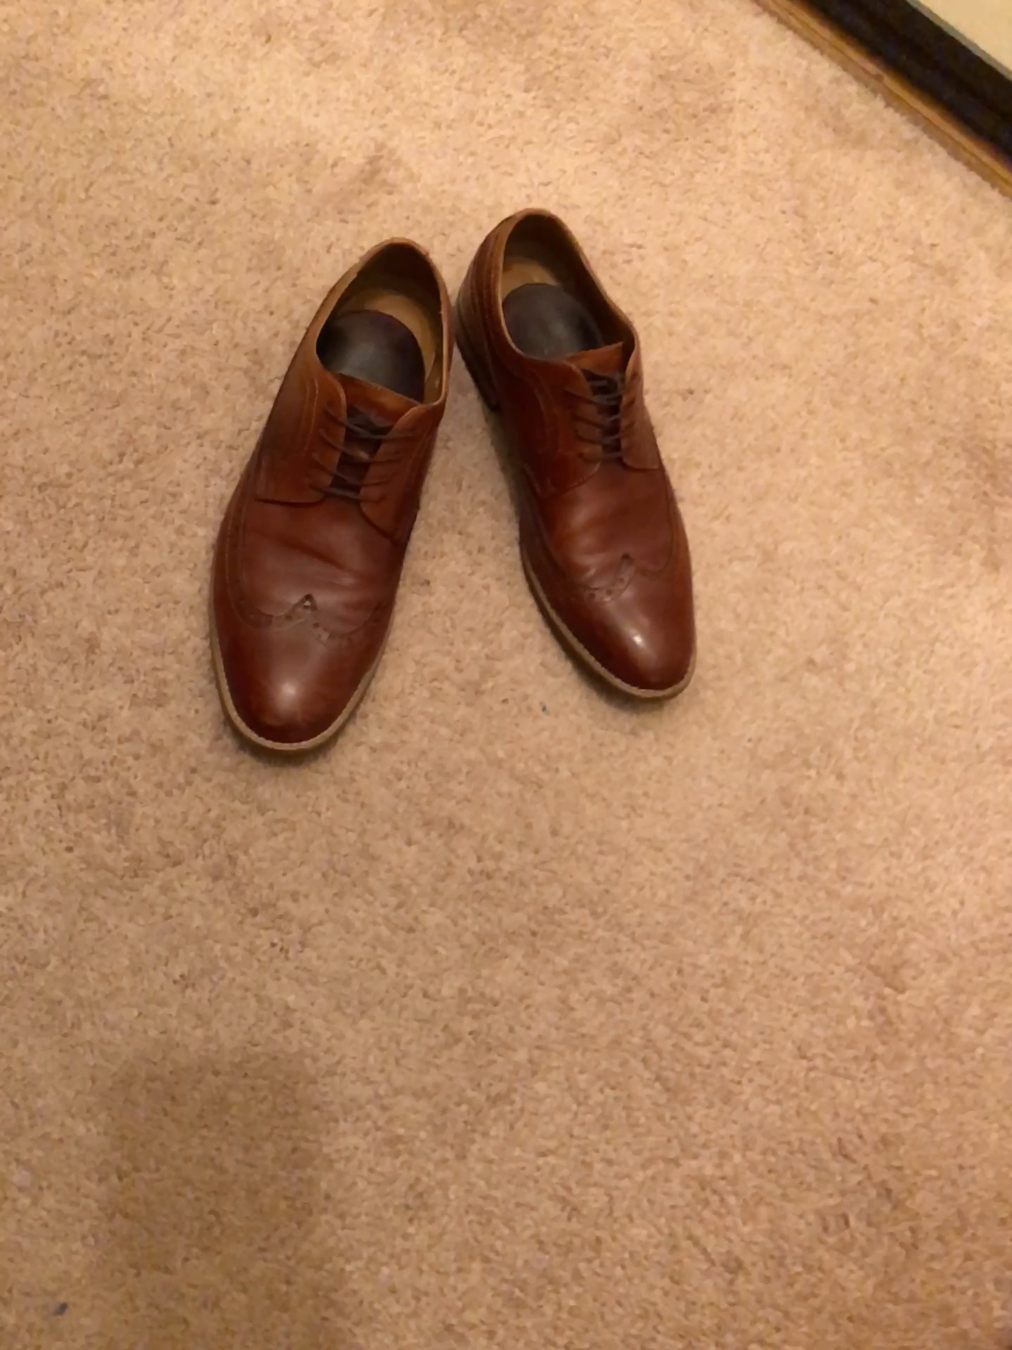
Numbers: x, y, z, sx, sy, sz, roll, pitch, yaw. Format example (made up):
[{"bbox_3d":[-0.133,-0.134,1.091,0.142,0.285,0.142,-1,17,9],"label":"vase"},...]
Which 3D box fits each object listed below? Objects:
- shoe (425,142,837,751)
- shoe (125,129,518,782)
[{"bbox_3d":[0.058,-0.130,0.636,0.115,0.115,0.311,-13,76,-17],"label":"shoe"},{"bbox_3d":[-0.093,-0.116,0.601,0.115,0.115,0.311,16,70,-8],"label":"shoe"}]
